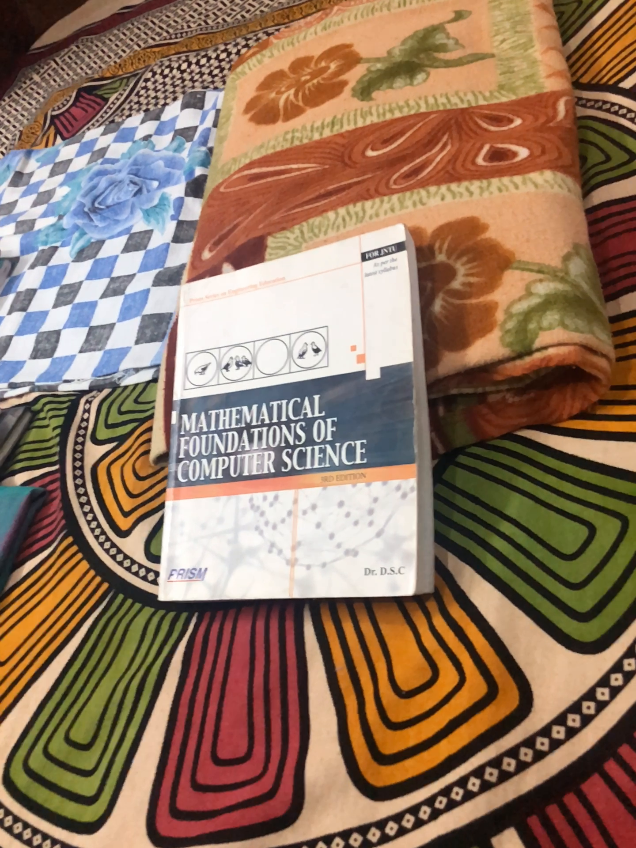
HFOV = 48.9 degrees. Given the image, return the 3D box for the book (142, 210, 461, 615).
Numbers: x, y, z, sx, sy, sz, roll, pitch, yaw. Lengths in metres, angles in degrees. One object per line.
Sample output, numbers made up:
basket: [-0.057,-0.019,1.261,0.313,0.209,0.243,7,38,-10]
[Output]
book: [-0.011,0.000,0.470,0.190,0.060,0.240,-9,67,27]
